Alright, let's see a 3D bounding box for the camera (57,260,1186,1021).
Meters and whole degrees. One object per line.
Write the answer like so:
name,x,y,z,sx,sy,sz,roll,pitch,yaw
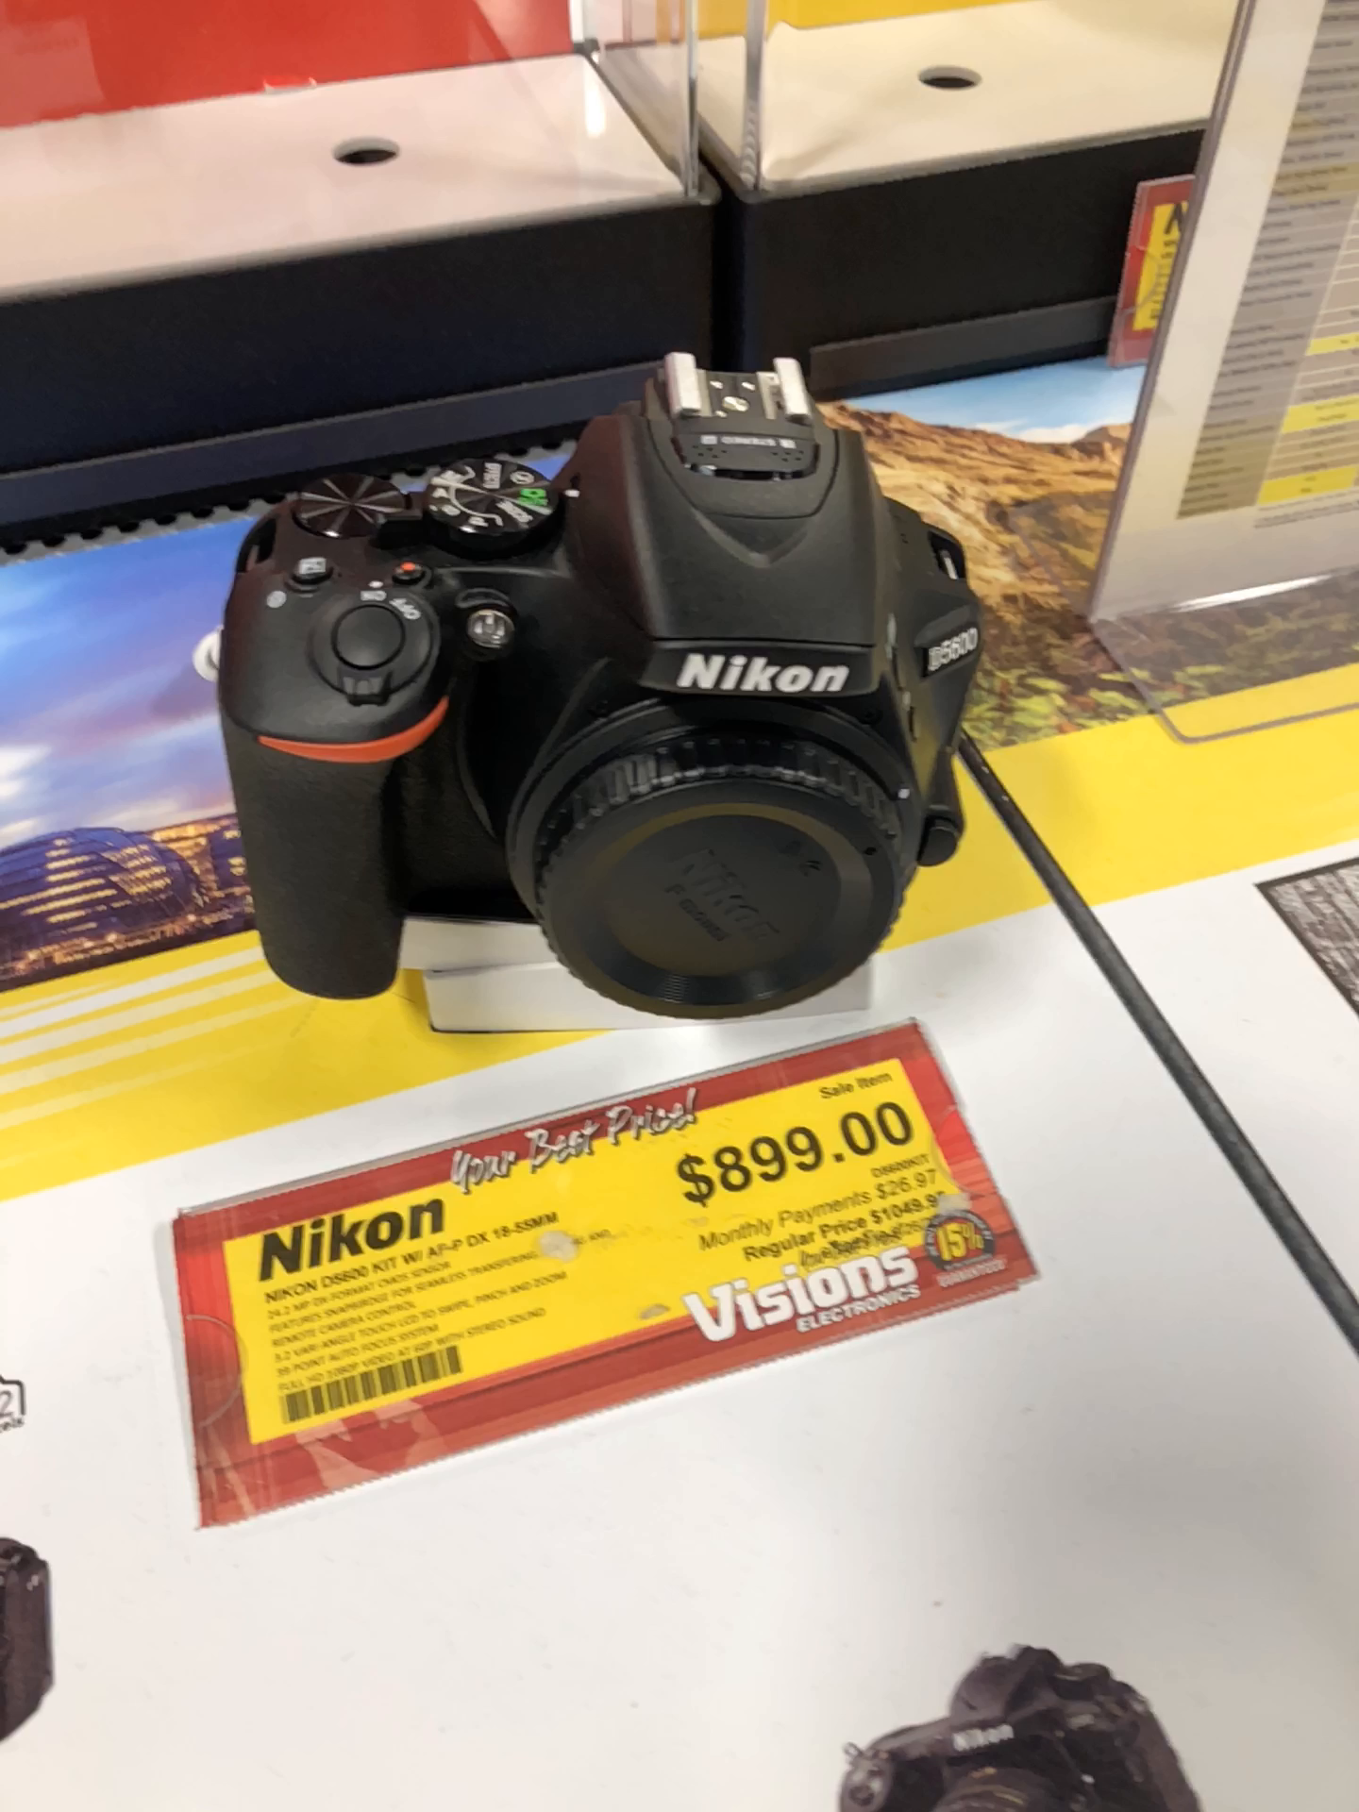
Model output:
camera,-0.010,-0.041,0.246,0.140,0.089,0.080,1,45,-4
